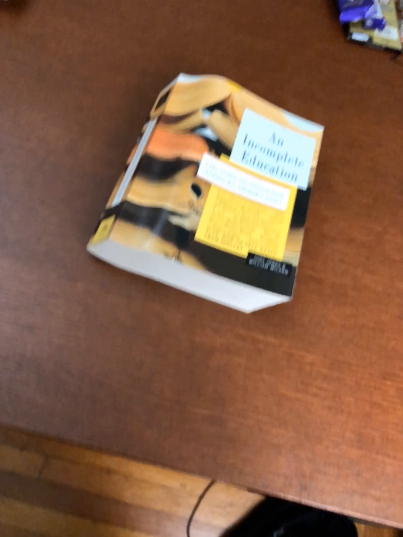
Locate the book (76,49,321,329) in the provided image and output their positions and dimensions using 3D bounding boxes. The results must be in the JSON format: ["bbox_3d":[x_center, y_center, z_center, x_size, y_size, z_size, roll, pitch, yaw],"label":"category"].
[{"bbox_3d":[0.011,-0.090,0.498,0.210,0.060,0.251,22,63,-12],"label":"book"}]
